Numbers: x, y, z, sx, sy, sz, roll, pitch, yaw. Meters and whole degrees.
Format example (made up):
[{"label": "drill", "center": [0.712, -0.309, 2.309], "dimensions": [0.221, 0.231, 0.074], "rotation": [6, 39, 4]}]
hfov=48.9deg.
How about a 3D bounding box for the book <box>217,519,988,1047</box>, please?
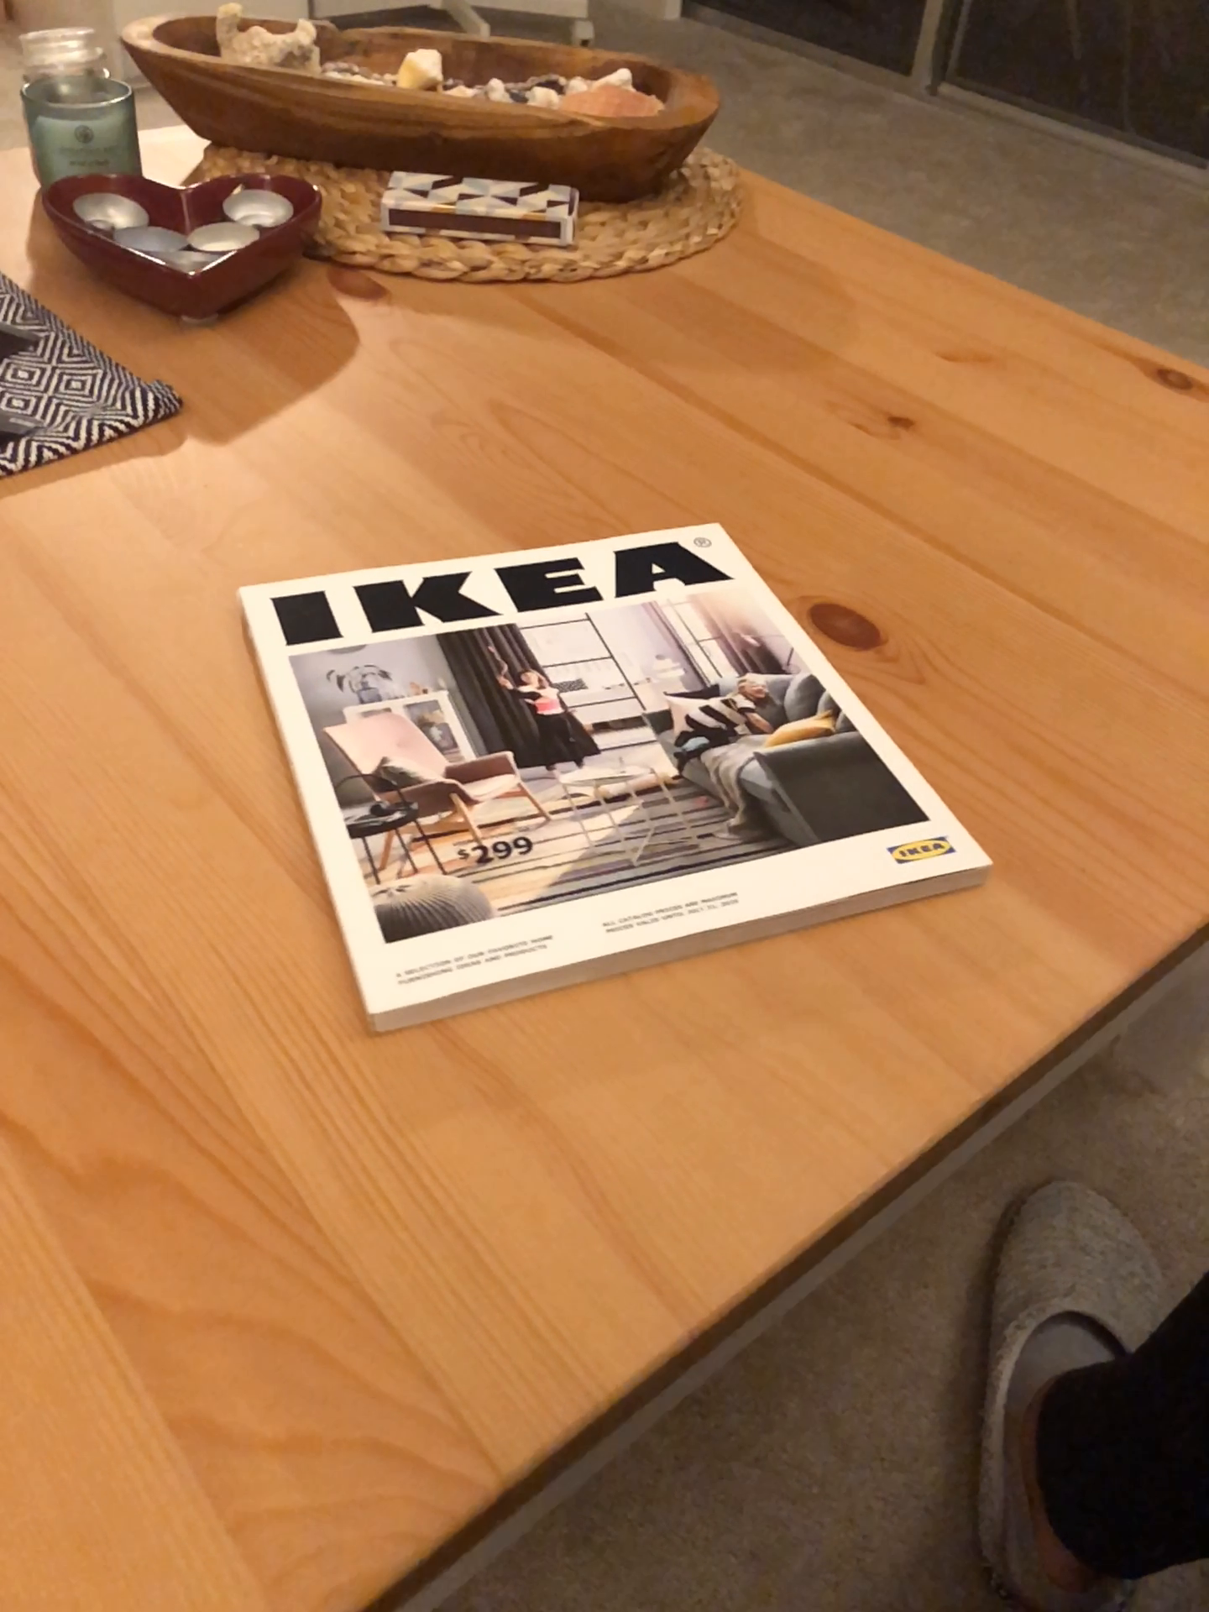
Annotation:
[{"label": "book", "center": [-0.012, -0.028, 0.477], "dimensions": [0.211, 0.015, 0.216], "rotation": [-11, 45, -19]}]
